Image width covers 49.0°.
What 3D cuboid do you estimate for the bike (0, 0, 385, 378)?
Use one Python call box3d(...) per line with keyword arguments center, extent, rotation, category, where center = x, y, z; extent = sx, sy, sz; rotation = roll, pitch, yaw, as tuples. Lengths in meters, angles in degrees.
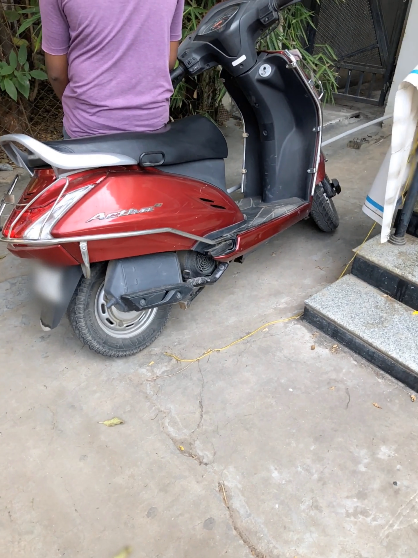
box3d(center=(-0.030, -0.566, 1.803), extent=(0.572, 1.056, 1.485), rotation=(27, 44, 31), category="bike")
